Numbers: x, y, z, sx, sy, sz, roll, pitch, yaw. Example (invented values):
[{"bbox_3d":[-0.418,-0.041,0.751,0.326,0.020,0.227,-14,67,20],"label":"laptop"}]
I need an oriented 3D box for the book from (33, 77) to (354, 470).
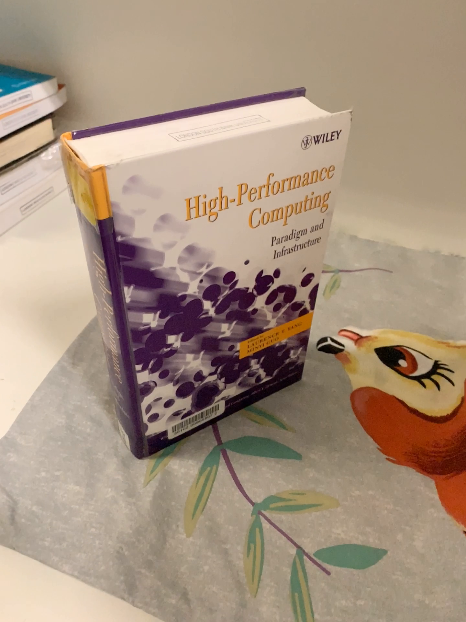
[{"bbox_3d":[-0.017,-0.015,0.335,0.169,0.243,0.049,-21,45,-25],"label":"book"}]
